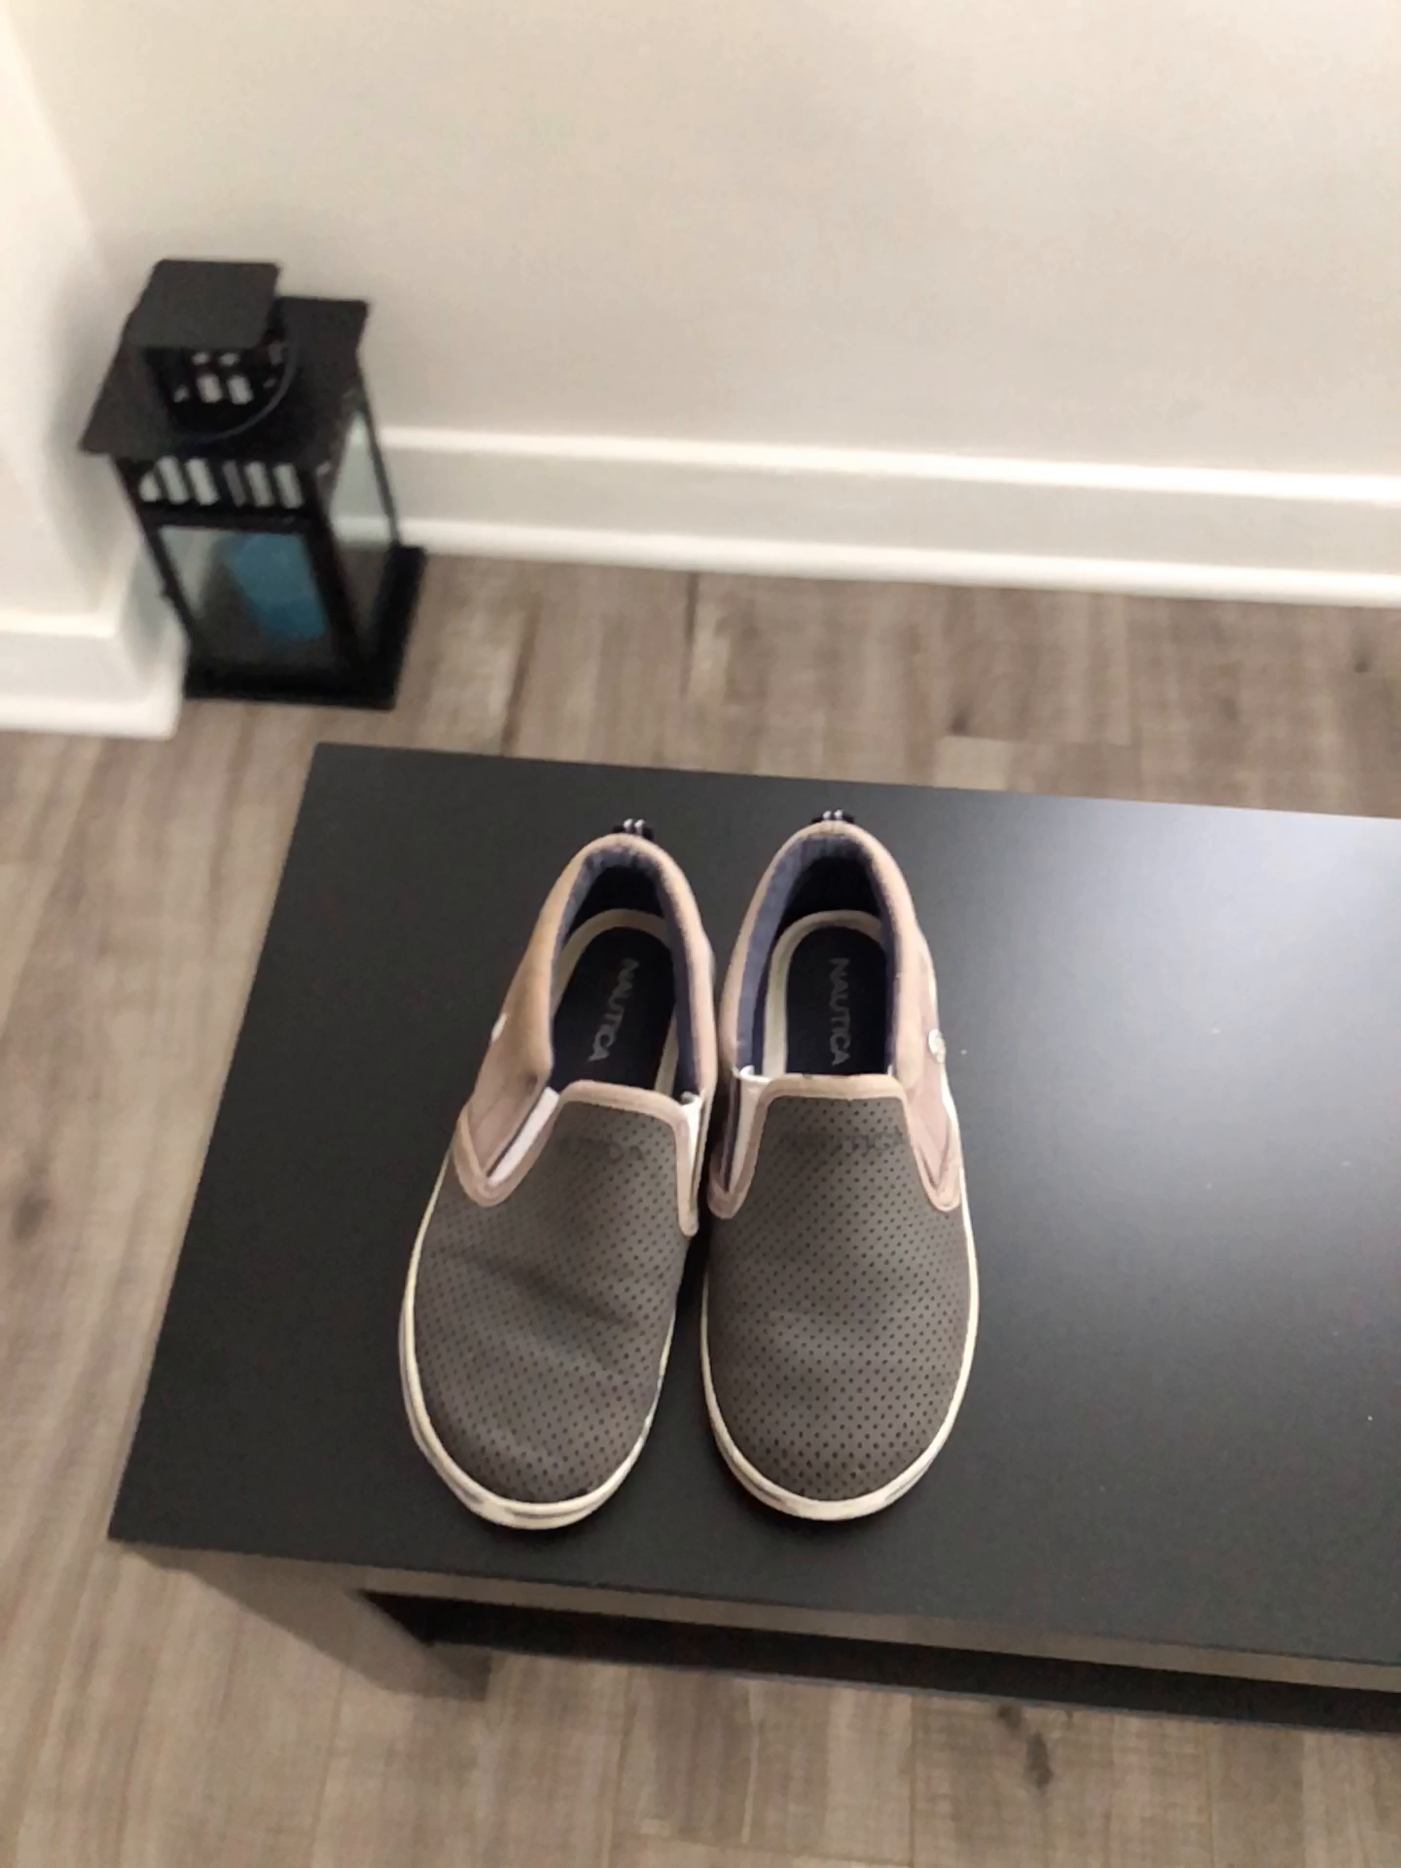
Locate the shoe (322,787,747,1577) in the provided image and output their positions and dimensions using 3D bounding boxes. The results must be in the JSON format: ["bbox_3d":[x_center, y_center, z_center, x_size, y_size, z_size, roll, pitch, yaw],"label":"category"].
[{"bbox_3d":[-0.035,0.062,0.414,0.077,0.070,0.190,5,60,3],"label":"shoe"}]

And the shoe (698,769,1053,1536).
[{"bbox_3d":[0.040,0.054,0.416,0.077,0.070,0.190,1,60,1],"label":"shoe"}]
